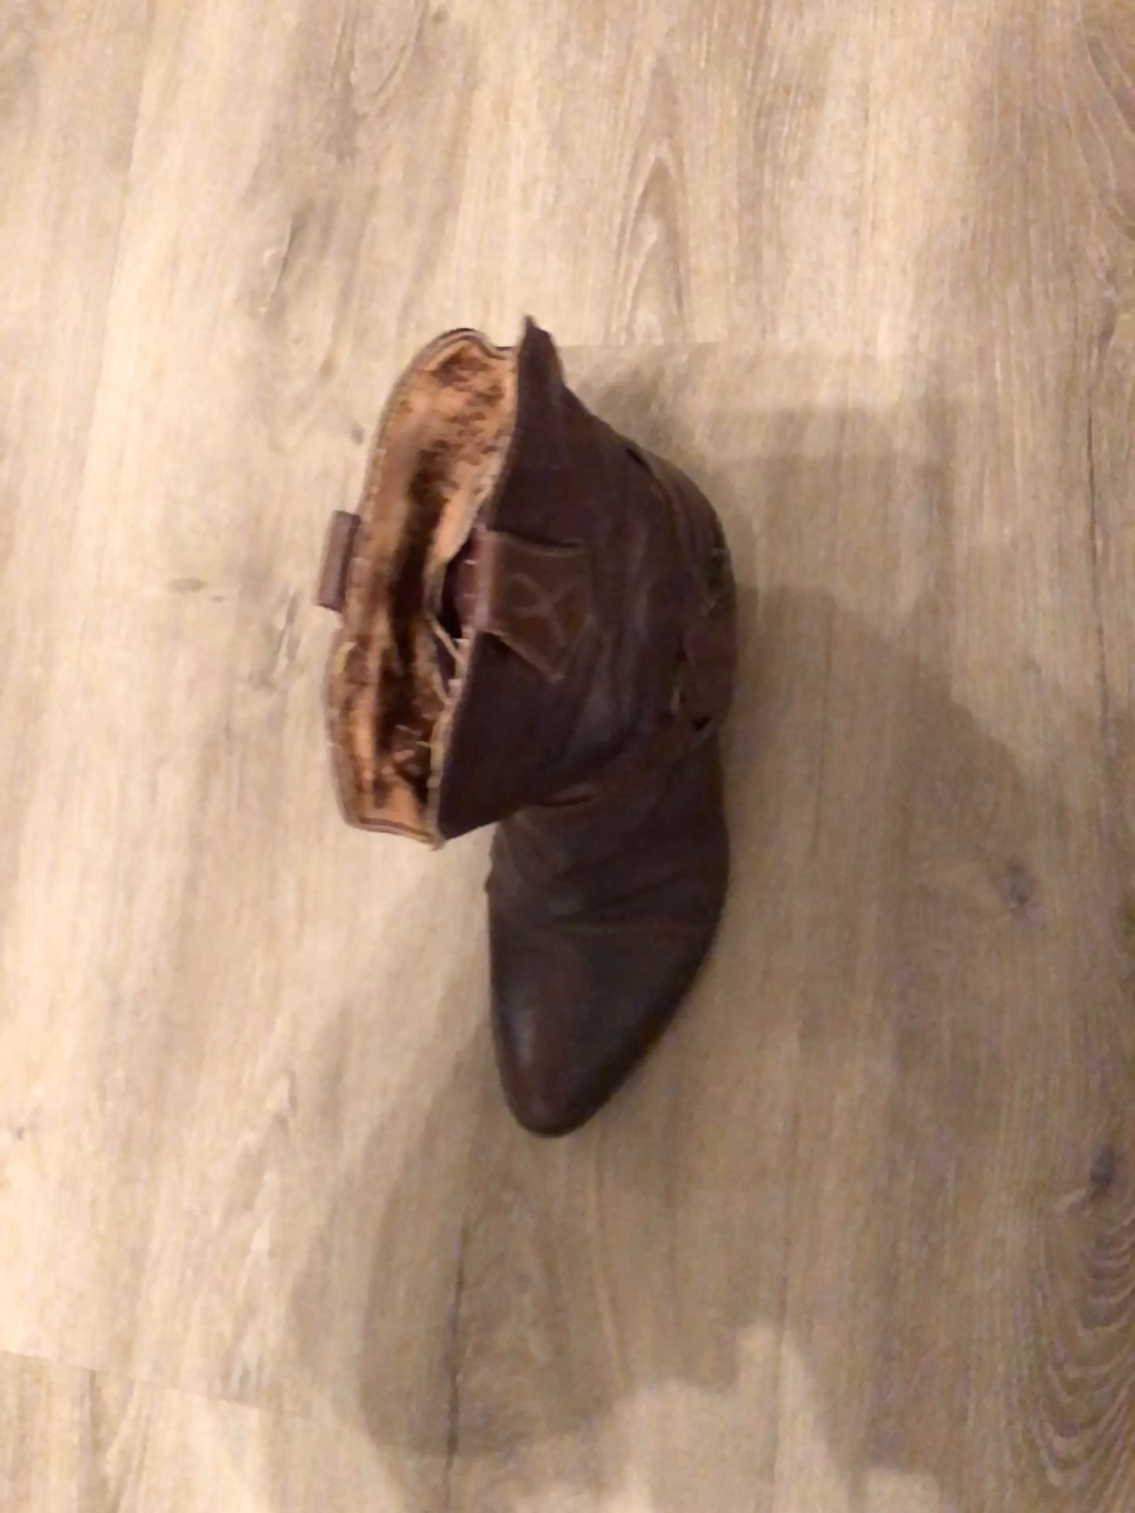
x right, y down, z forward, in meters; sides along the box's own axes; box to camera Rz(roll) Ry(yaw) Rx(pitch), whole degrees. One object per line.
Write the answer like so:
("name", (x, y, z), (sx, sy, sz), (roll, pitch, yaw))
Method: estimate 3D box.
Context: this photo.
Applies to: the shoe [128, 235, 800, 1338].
("shoe", (-0.005, 0.012, 0.384), (0.100, 0.210, 0.240), (7, 82, 16))
